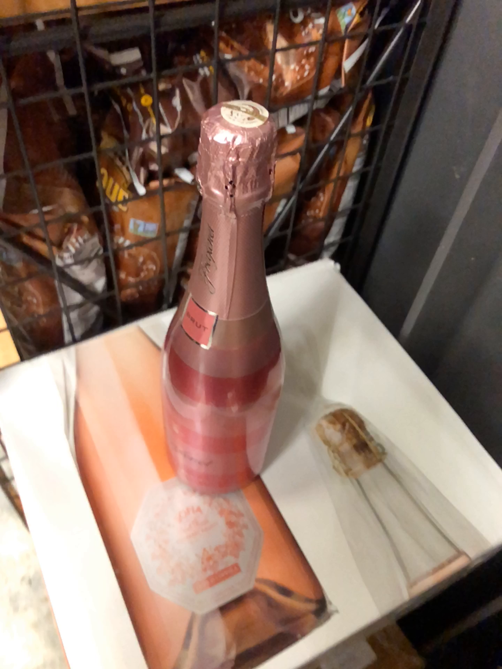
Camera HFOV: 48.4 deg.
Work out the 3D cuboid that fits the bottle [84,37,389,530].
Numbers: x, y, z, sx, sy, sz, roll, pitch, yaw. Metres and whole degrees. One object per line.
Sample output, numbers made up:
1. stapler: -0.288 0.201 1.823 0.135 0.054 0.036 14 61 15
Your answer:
1. bottle: -0.017 0.002 0.351 0.090 0.309 0.090 3 50 -4
